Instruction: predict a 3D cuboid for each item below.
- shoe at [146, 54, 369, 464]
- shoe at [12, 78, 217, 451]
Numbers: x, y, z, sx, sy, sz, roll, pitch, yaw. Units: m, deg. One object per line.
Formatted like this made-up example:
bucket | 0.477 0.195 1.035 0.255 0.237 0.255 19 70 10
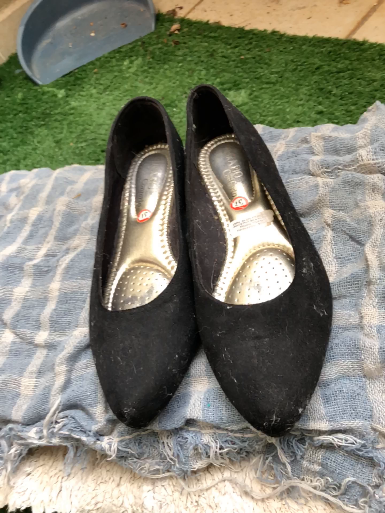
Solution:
shoe | 0.029 -0.018 0.295 0.090 0.080 0.271 -16 52 12
shoe | -0.043 -0.011 0.325 0.090 0.080 0.271 -12 53 14
